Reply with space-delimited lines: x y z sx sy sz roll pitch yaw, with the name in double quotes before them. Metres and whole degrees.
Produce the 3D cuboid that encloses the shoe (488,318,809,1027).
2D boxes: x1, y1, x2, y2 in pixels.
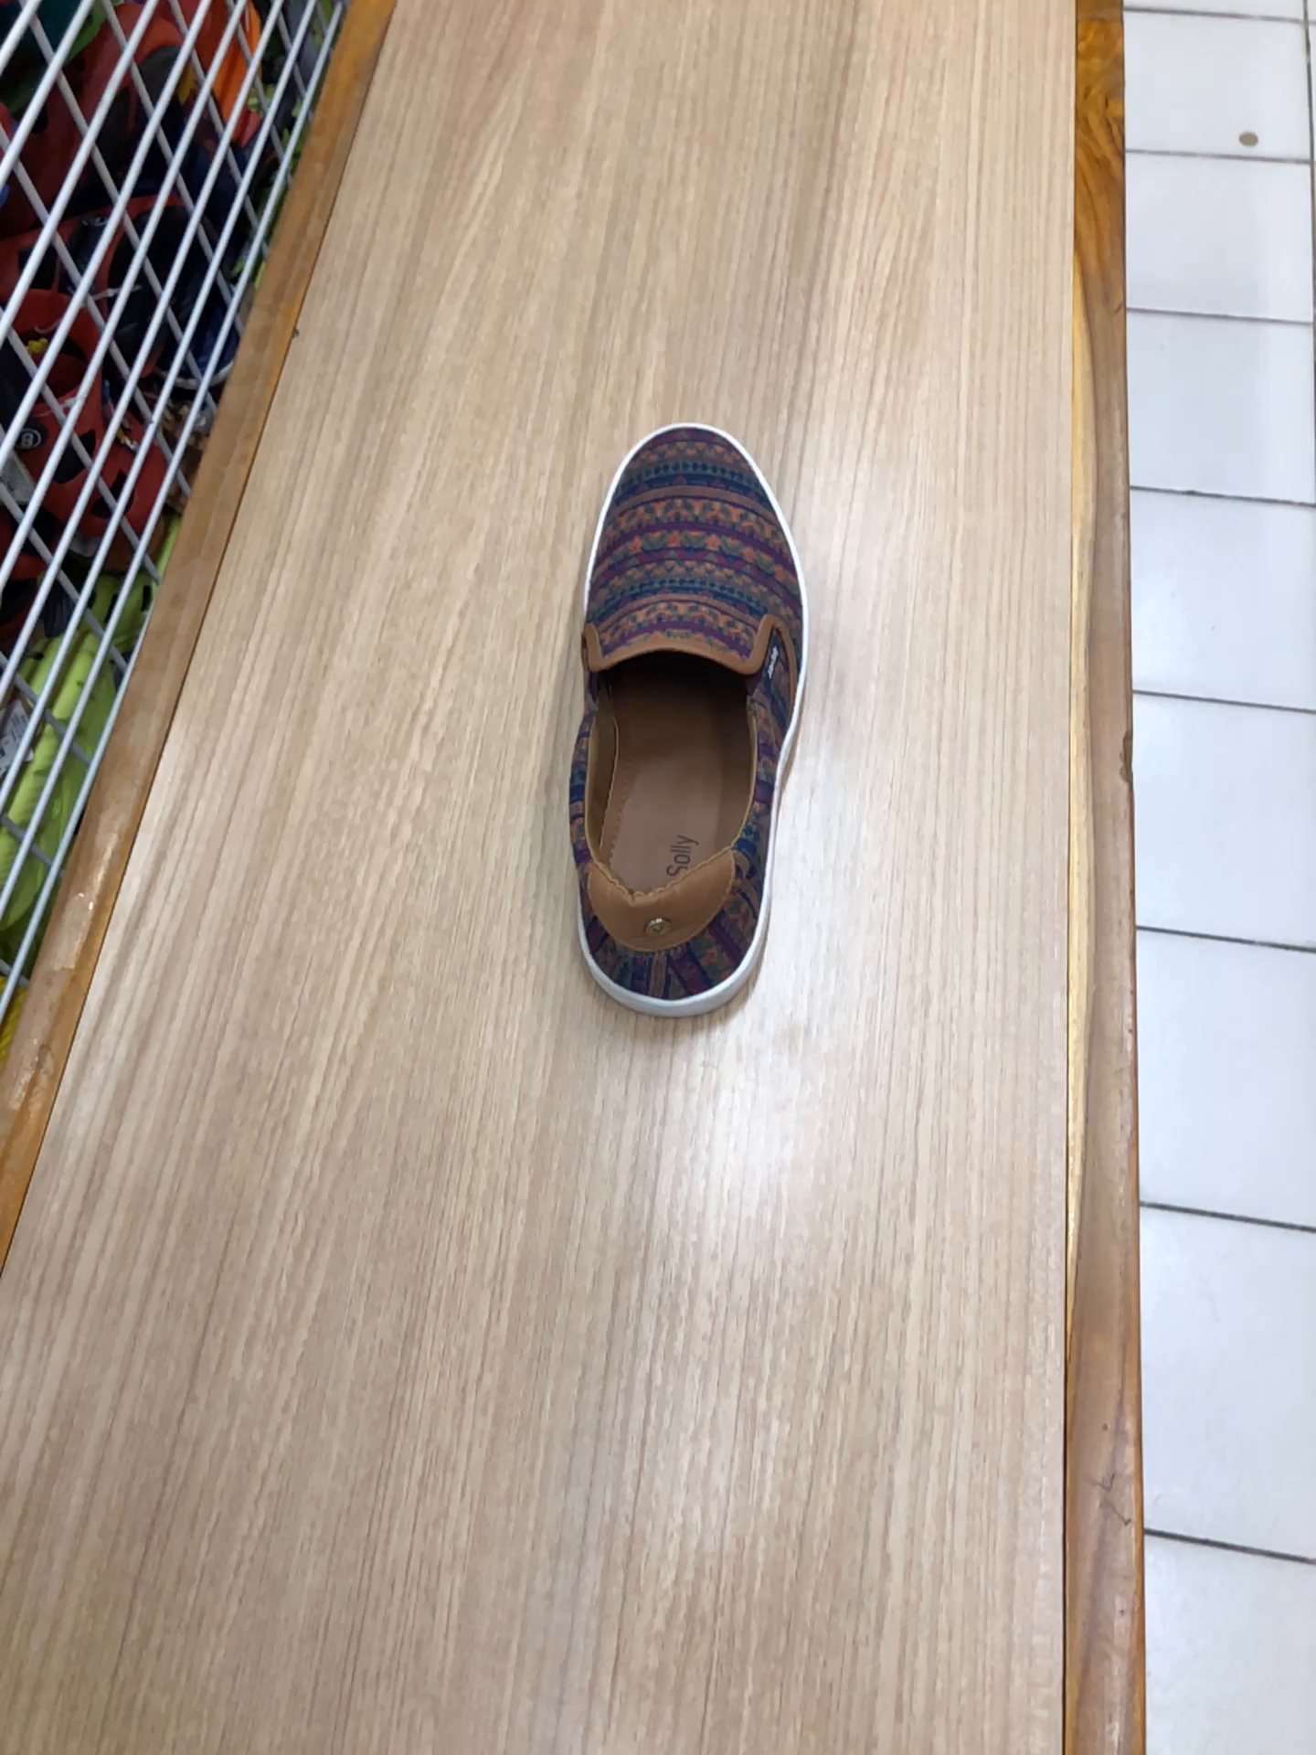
"shoe" 0.005 -0.086 0.576 0.100 0.090 0.271 2 65 4
